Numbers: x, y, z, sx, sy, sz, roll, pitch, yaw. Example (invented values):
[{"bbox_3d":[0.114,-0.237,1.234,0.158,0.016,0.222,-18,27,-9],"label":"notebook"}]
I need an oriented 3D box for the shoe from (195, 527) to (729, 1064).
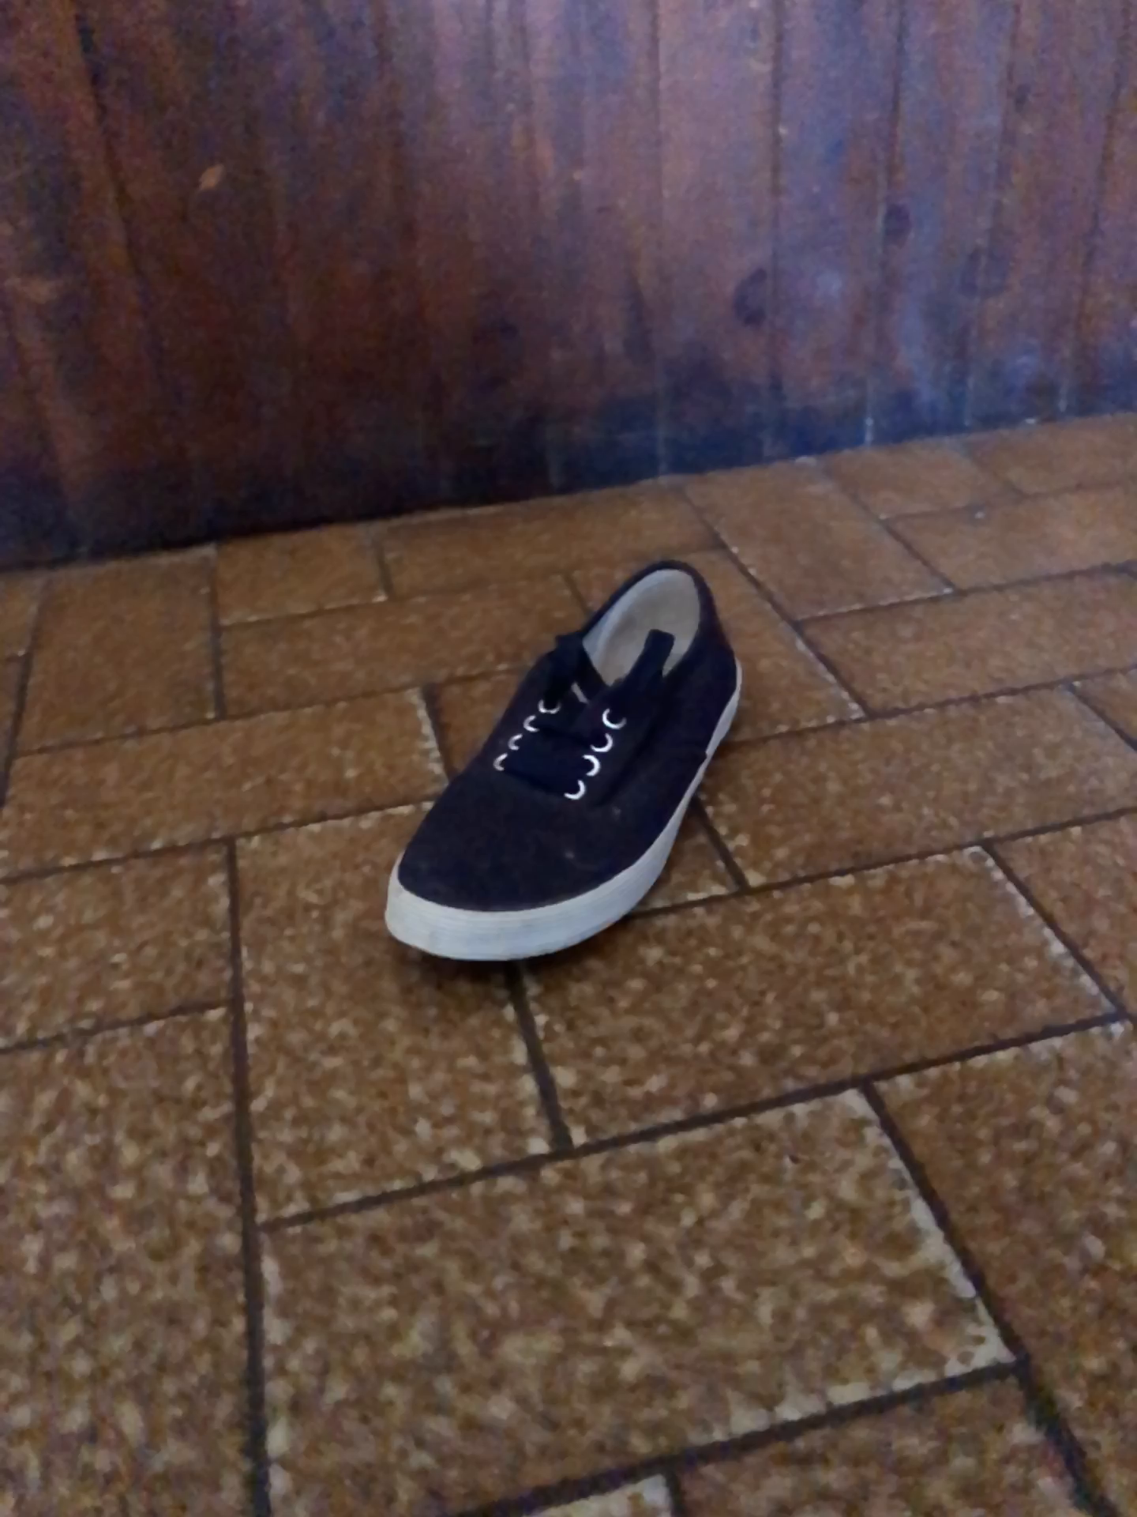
[{"bbox_3d":[-0.023,-0.004,0.493,0.100,0.070,0.242,12,37,21],"label":"shoe"}]
